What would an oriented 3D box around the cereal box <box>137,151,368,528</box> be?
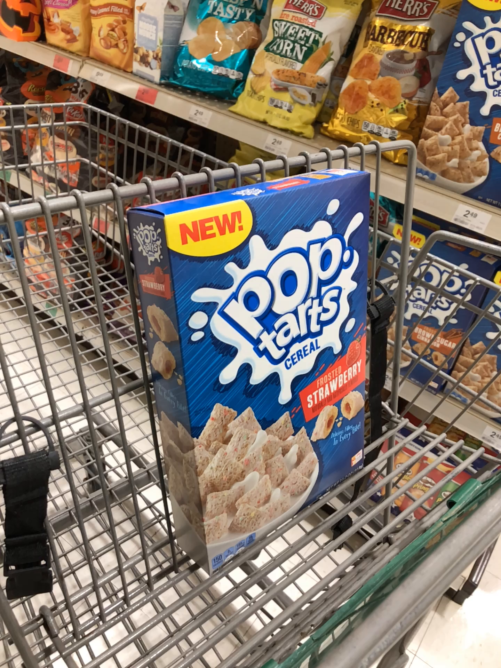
[{"bbox_3d":[0.020,-0.002,0.490,0.200,0.279,0.050,-24,31,-36],"label":"cereal box"}]
